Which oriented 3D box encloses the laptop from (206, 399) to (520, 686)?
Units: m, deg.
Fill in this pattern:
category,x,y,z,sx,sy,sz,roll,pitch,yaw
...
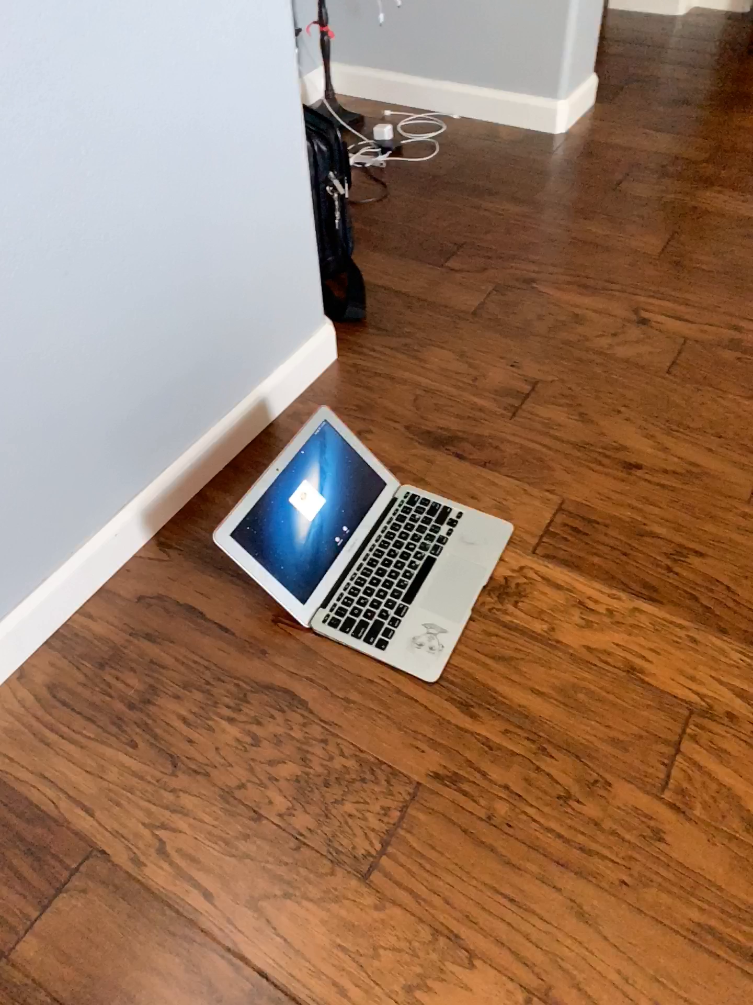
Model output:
category,x,y,z,sx,sy,sz,roll,pitch,yaw
laptop,-0.009,0.038,1.074,0.322,0.117,0.294,21,52,18
